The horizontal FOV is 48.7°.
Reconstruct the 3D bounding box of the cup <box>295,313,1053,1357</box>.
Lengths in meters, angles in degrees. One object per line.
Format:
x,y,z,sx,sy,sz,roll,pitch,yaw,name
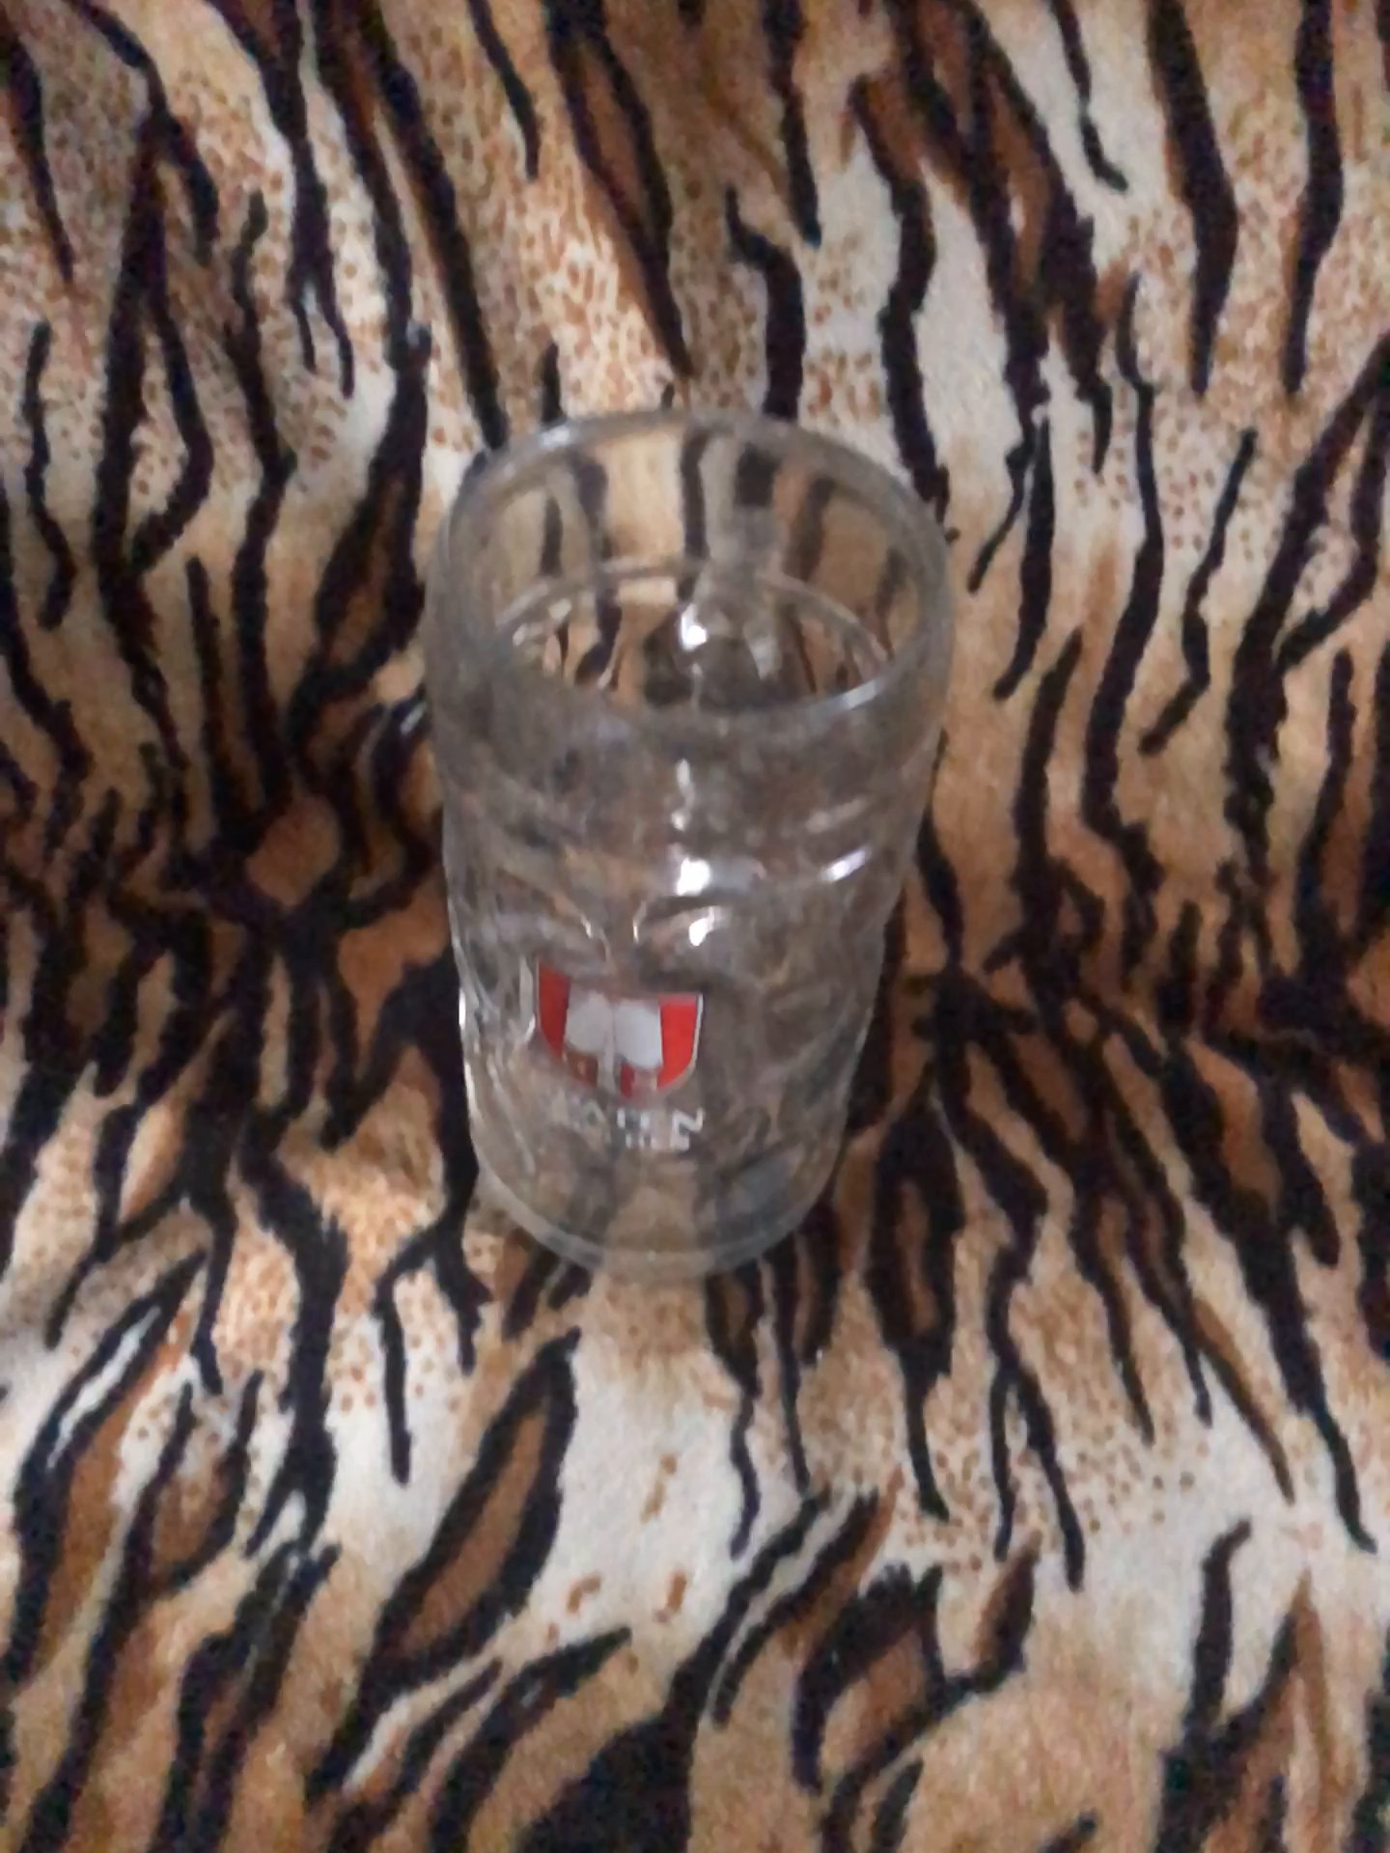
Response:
0.003,-0.021,0.389,0.120,0.195,0.150,12,46,10,cup
